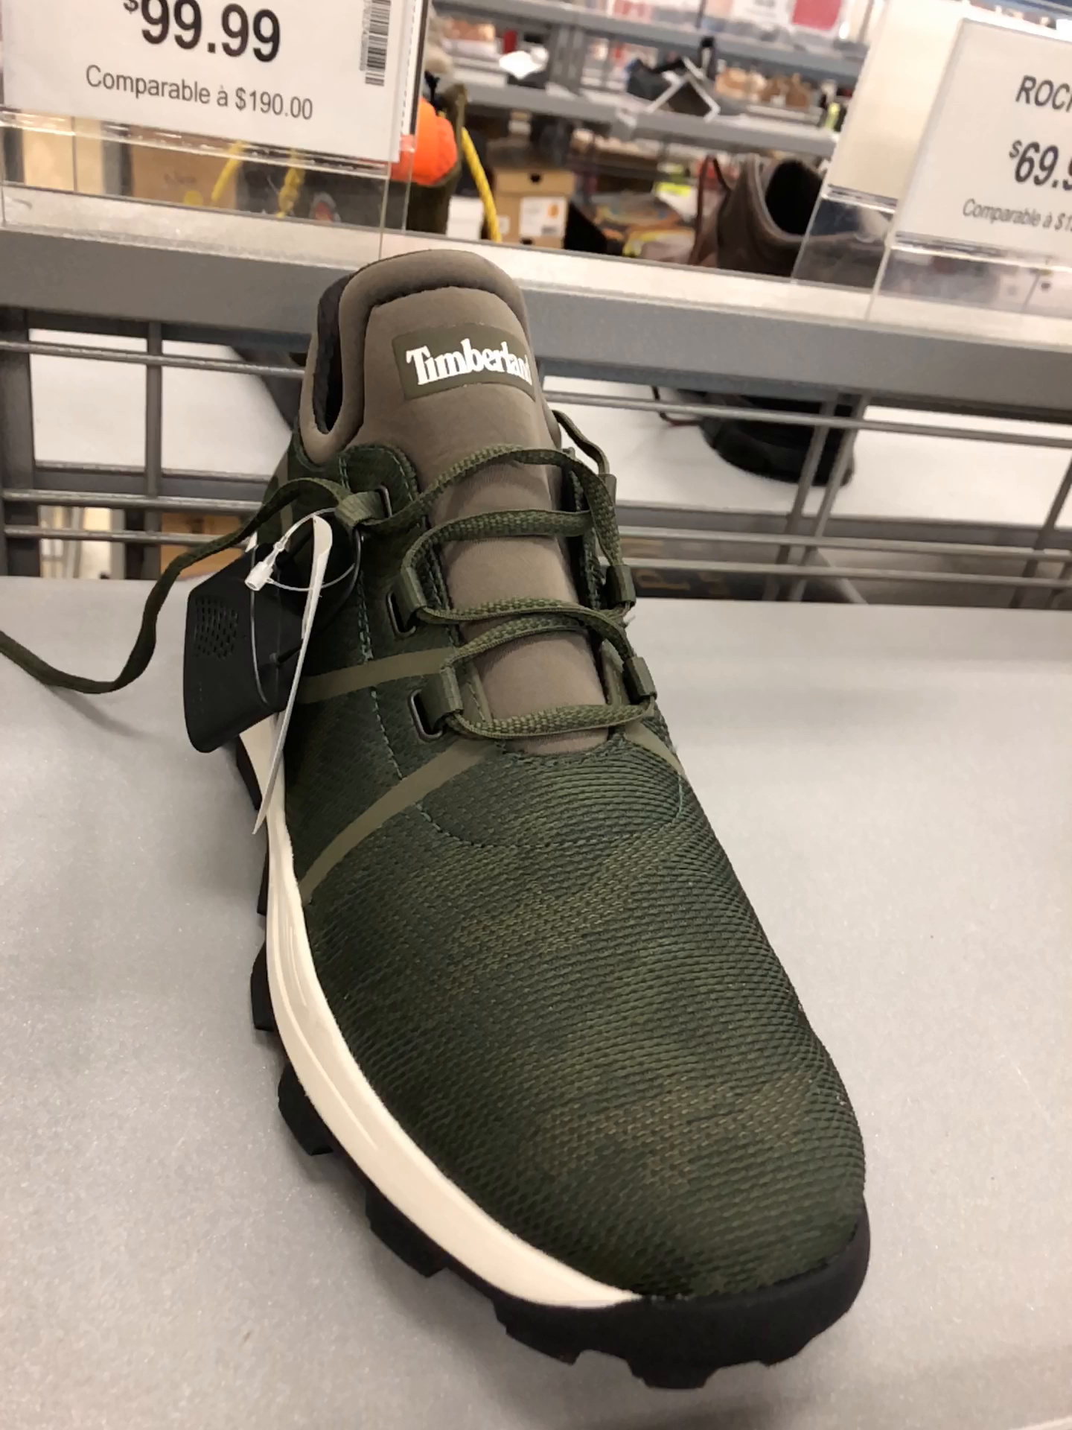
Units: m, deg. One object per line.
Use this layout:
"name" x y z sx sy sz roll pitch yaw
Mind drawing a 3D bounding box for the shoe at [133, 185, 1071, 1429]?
"shoe" -0.010 -0.009 0.294 0.130 0.149 0.312 -5 36 -25
